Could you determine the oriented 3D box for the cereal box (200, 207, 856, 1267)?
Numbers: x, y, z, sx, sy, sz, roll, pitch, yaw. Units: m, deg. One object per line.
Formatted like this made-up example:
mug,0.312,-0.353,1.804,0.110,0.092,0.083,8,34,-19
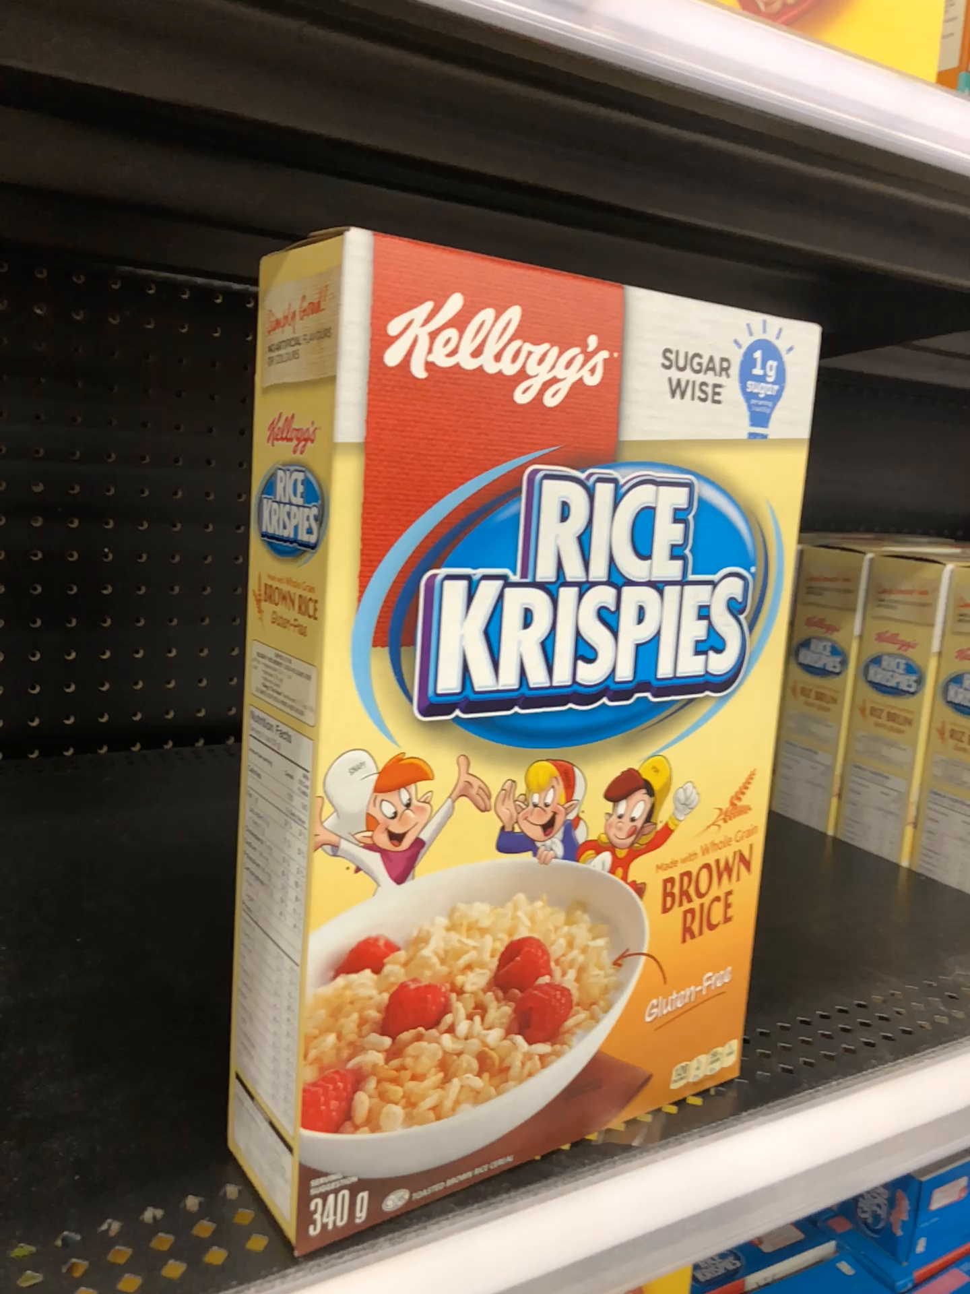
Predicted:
cereal box,0.019,0.025,0.370,0.210,0.289,0.060,-2,11,-36
